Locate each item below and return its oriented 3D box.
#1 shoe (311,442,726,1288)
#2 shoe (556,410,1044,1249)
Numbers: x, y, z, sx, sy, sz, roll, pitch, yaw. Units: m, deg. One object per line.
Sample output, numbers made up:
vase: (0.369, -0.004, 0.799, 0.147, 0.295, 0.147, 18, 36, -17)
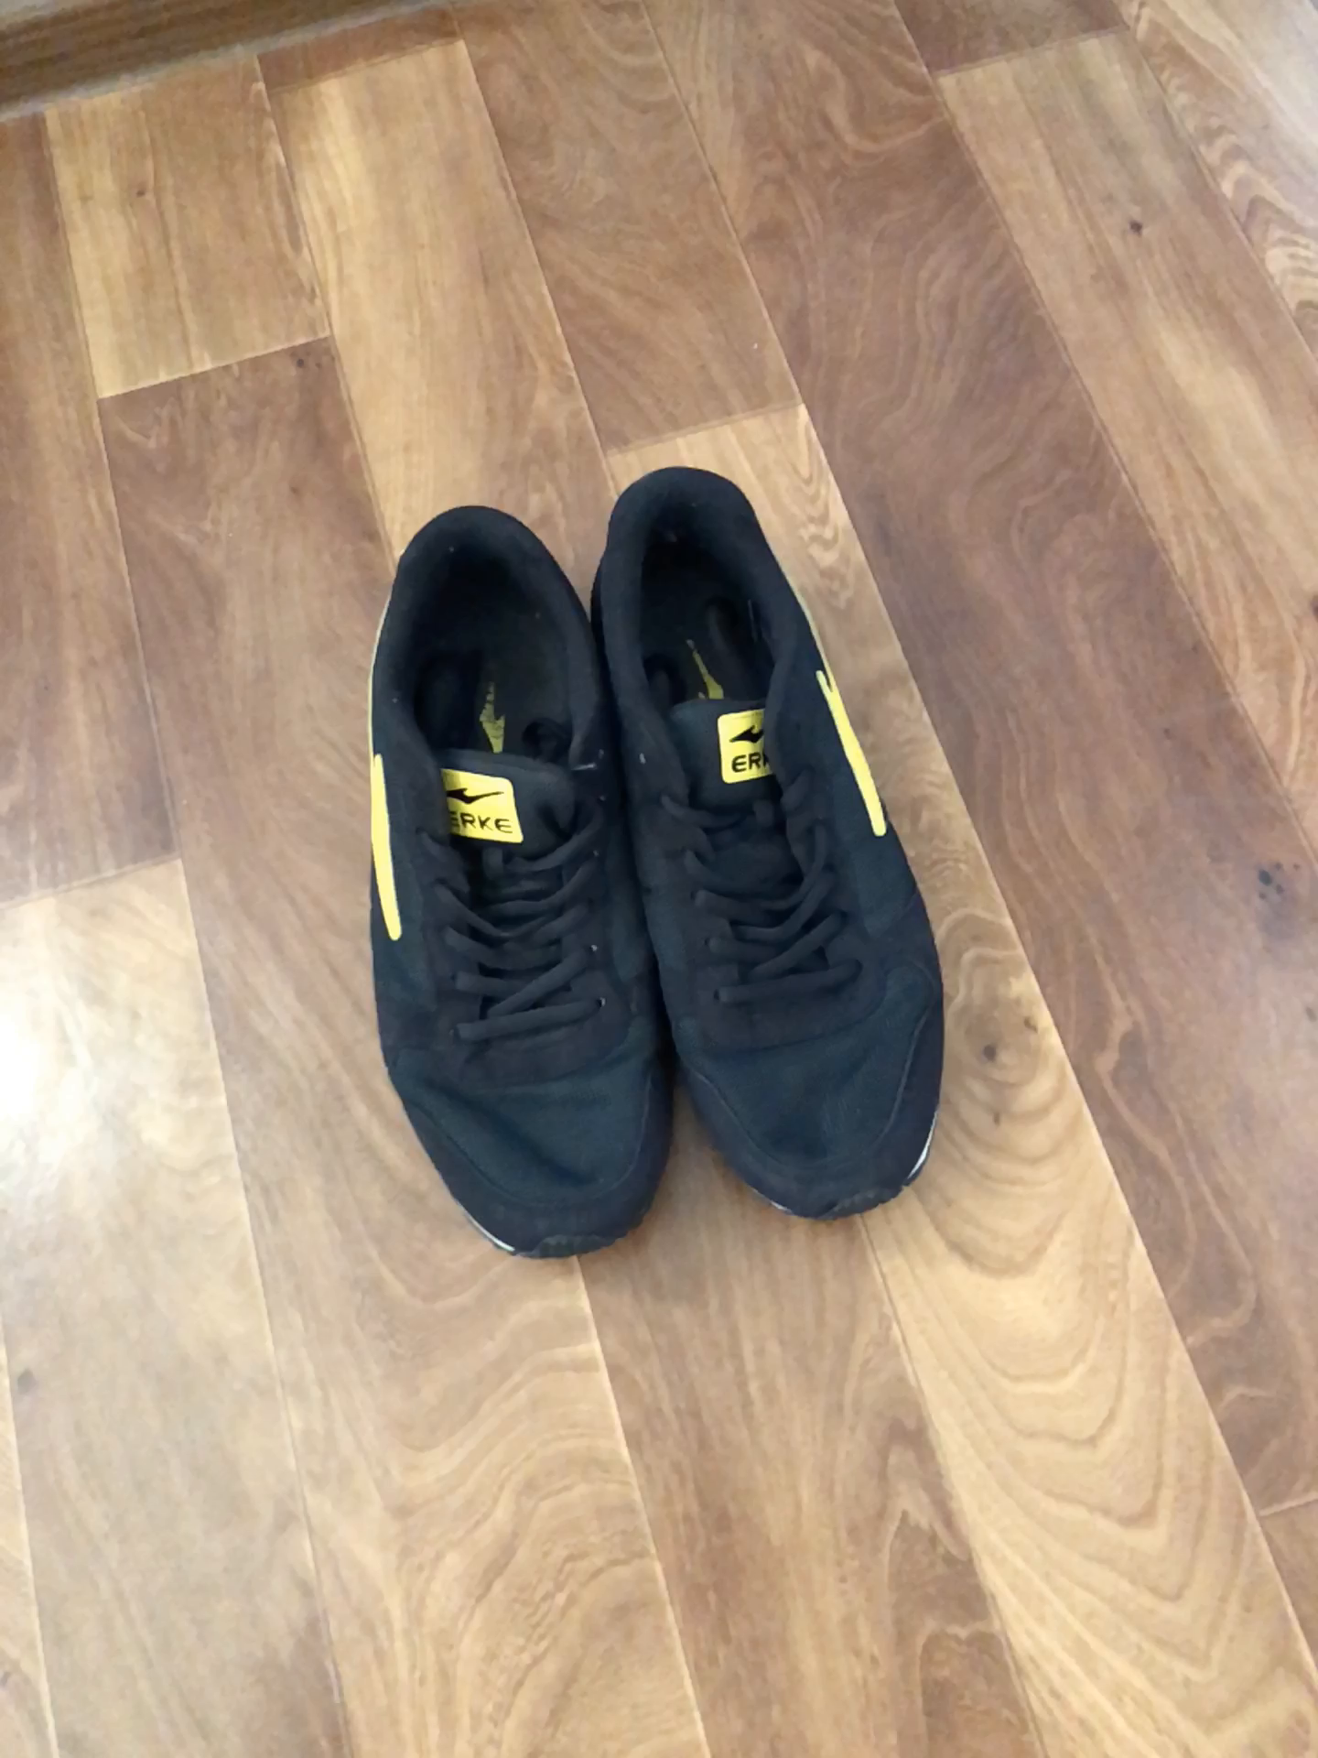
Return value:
shoe: (-0.056, -0.010, 0.552, 0.110, 0.080, 0.301, -10, 70, -1)
shoe: (0.044, -0.024, 0.558, 0.110, 0.080, 0.301, -11, 70, -1)
